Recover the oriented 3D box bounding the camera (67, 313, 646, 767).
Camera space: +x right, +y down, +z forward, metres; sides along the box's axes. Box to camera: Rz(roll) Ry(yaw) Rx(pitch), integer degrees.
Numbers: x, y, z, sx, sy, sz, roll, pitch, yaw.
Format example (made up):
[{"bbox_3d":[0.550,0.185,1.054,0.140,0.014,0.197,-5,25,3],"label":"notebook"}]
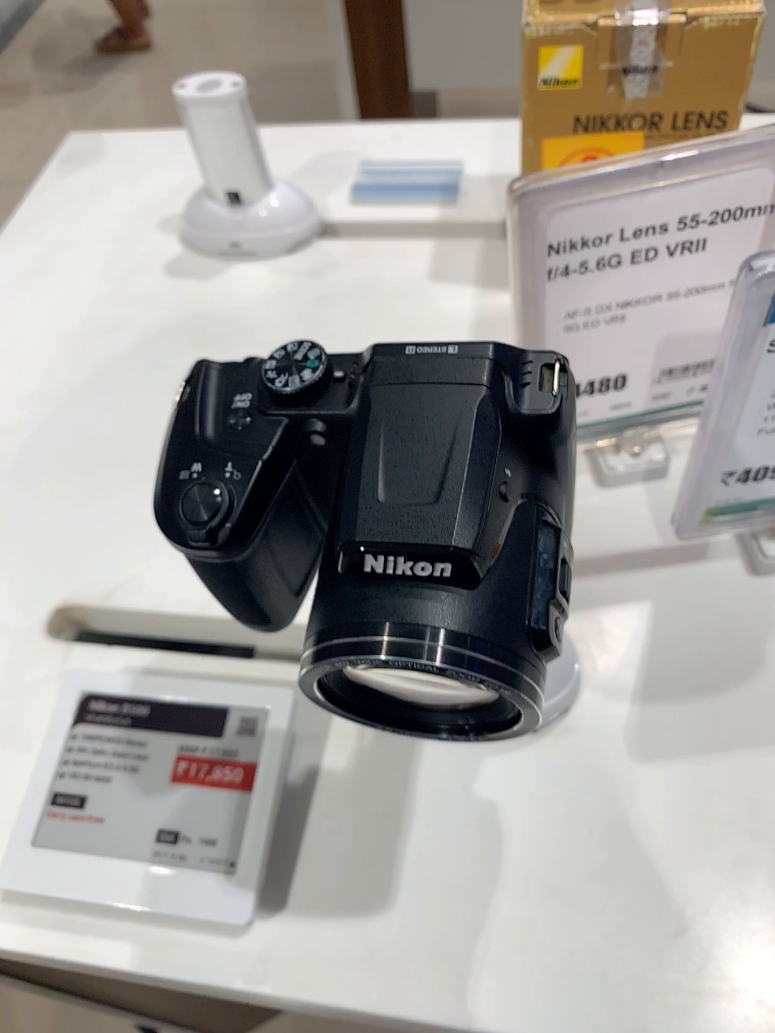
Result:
[{"bbox_3d":[0.001,0.006,0.204,0.113,0.070,0.084,4,60,11],"label":"camera"}]
